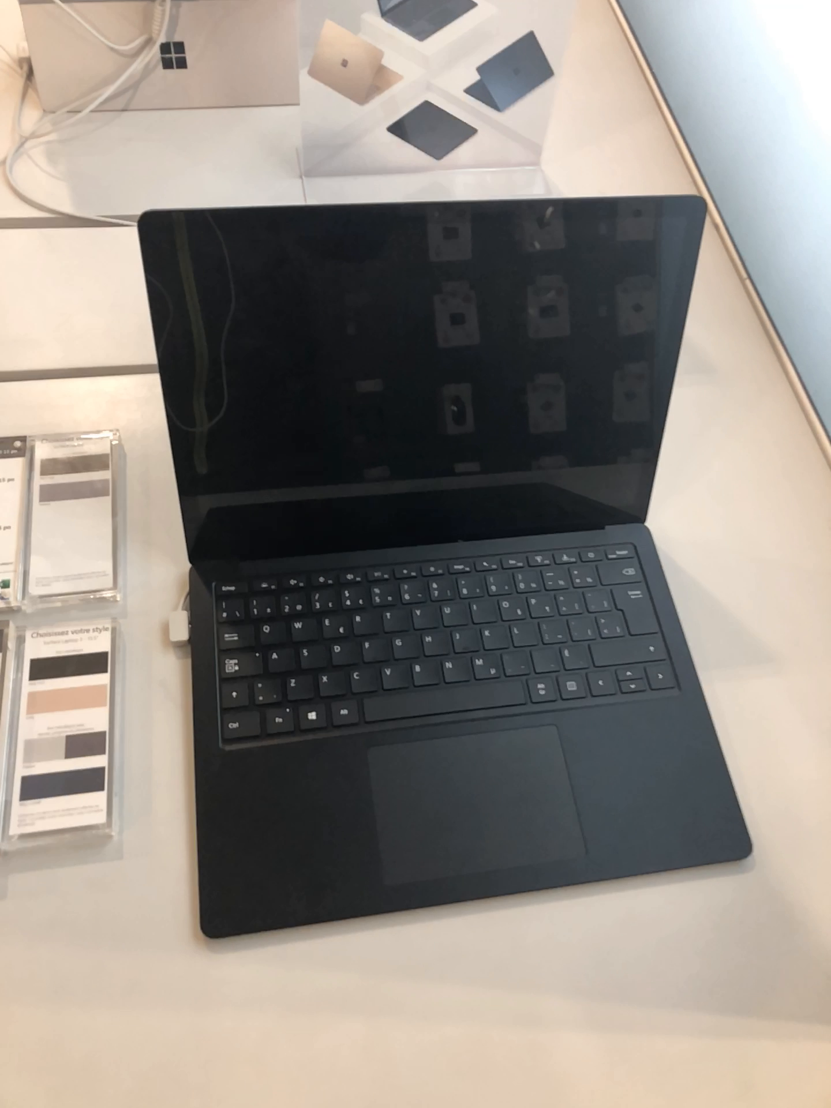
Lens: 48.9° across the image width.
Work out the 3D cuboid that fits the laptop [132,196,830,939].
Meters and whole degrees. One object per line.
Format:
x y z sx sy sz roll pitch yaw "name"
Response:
0.026 -0.002 0.490 0.308 0.197 0.314 -5 59 -9 "laptop"
